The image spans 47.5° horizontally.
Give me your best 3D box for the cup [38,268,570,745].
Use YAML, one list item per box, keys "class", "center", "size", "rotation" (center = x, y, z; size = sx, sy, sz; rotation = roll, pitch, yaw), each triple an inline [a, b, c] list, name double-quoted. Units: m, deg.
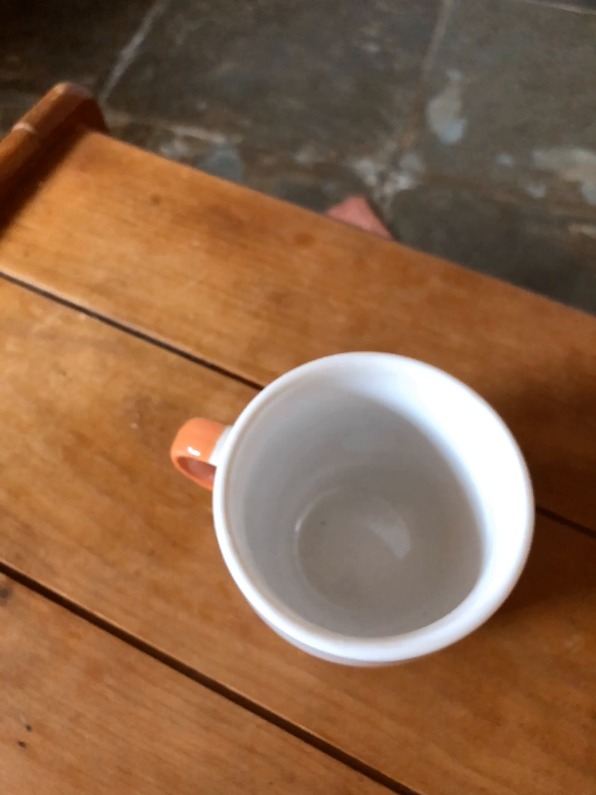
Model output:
- class: "cup"
  center: [0.005, 0.031, 0.201]
  size: [0.110, 0.060, 0.090]
  rotation: [21, 64, 12]
